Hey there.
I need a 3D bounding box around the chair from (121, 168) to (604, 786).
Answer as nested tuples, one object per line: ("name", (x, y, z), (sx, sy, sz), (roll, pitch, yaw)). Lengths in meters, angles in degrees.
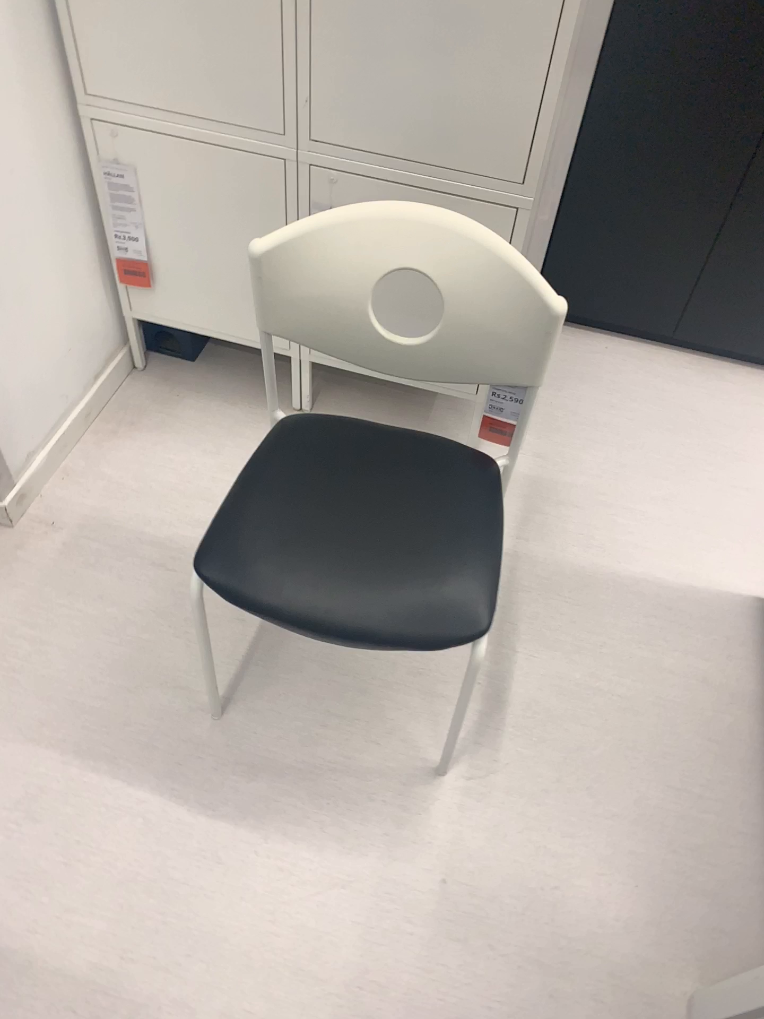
("chair", (-0.007, -0.006, 1.225), (0.480, 0.768, 0.512), (12, 50, 4))
